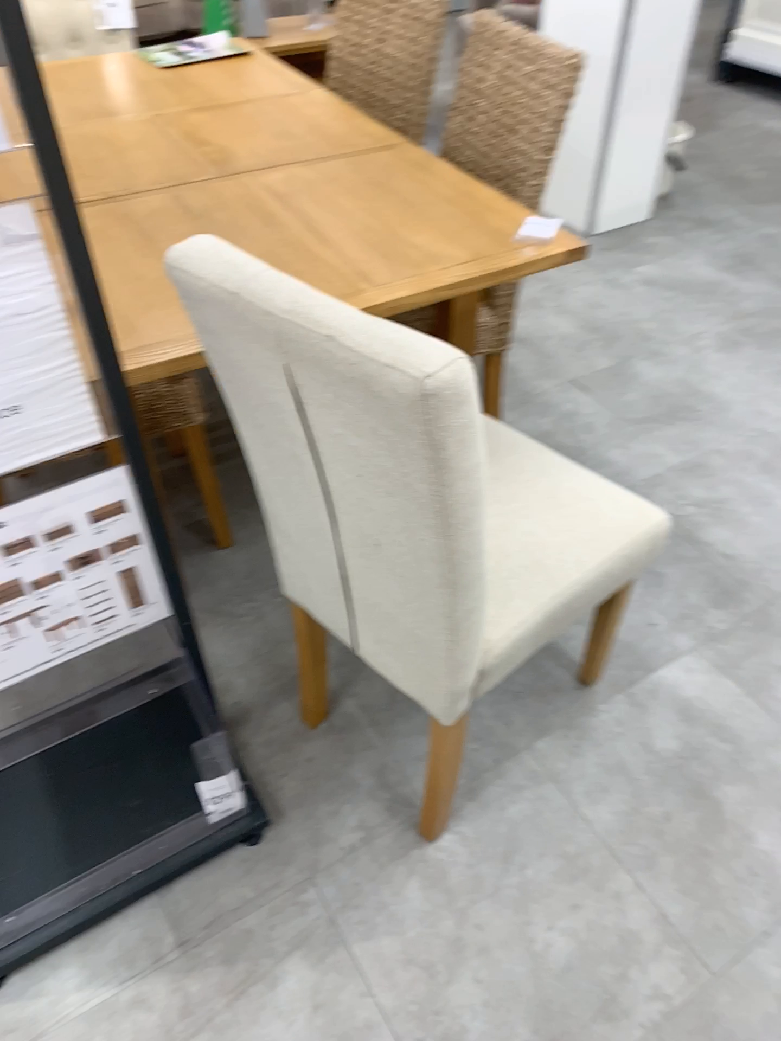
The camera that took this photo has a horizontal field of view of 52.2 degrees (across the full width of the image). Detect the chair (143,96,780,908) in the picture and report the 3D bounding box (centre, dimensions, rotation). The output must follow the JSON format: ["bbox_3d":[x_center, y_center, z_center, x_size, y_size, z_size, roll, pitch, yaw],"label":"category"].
[{"bbox_3d":[0.125,-0.013,1.126,0.422,0.871,0.613,31,51,29],"label":"chair"}]
